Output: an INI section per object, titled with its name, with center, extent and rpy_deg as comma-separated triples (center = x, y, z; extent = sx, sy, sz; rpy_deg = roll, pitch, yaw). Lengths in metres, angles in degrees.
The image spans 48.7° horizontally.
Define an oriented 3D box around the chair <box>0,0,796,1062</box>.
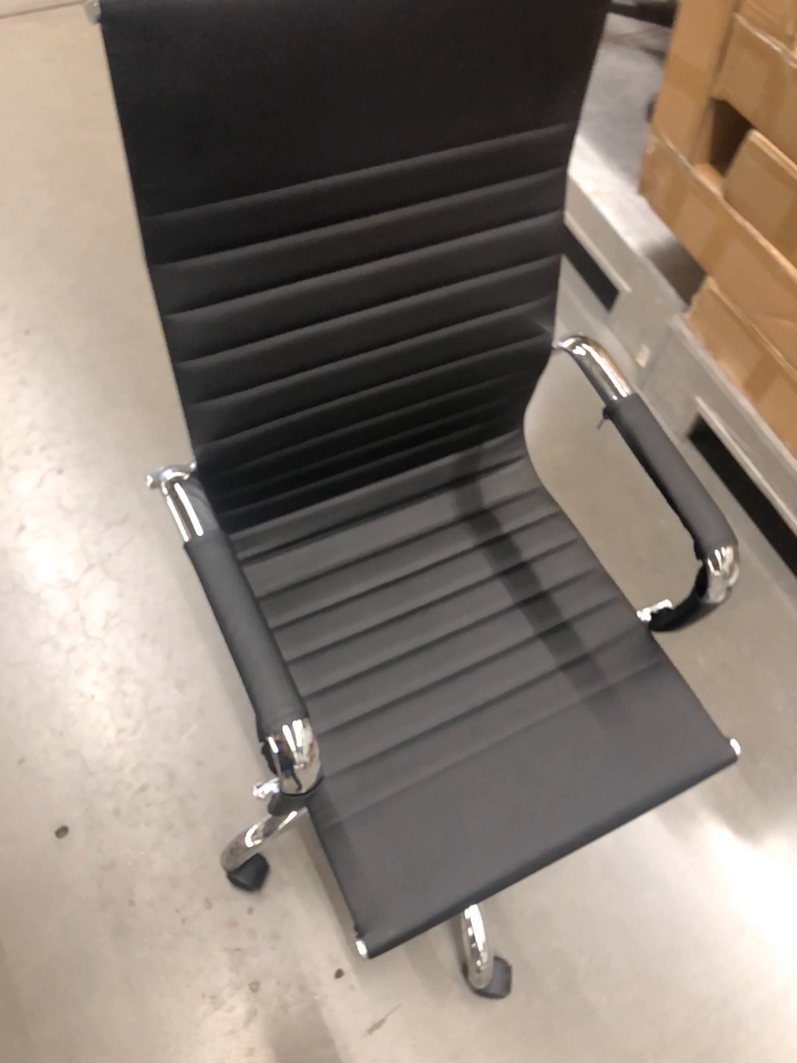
[chair]
center = 0.094, 0.090, 0.982
extent = 0.671, 1.095, 0.742
rpy_deg = -19, 64, -20
